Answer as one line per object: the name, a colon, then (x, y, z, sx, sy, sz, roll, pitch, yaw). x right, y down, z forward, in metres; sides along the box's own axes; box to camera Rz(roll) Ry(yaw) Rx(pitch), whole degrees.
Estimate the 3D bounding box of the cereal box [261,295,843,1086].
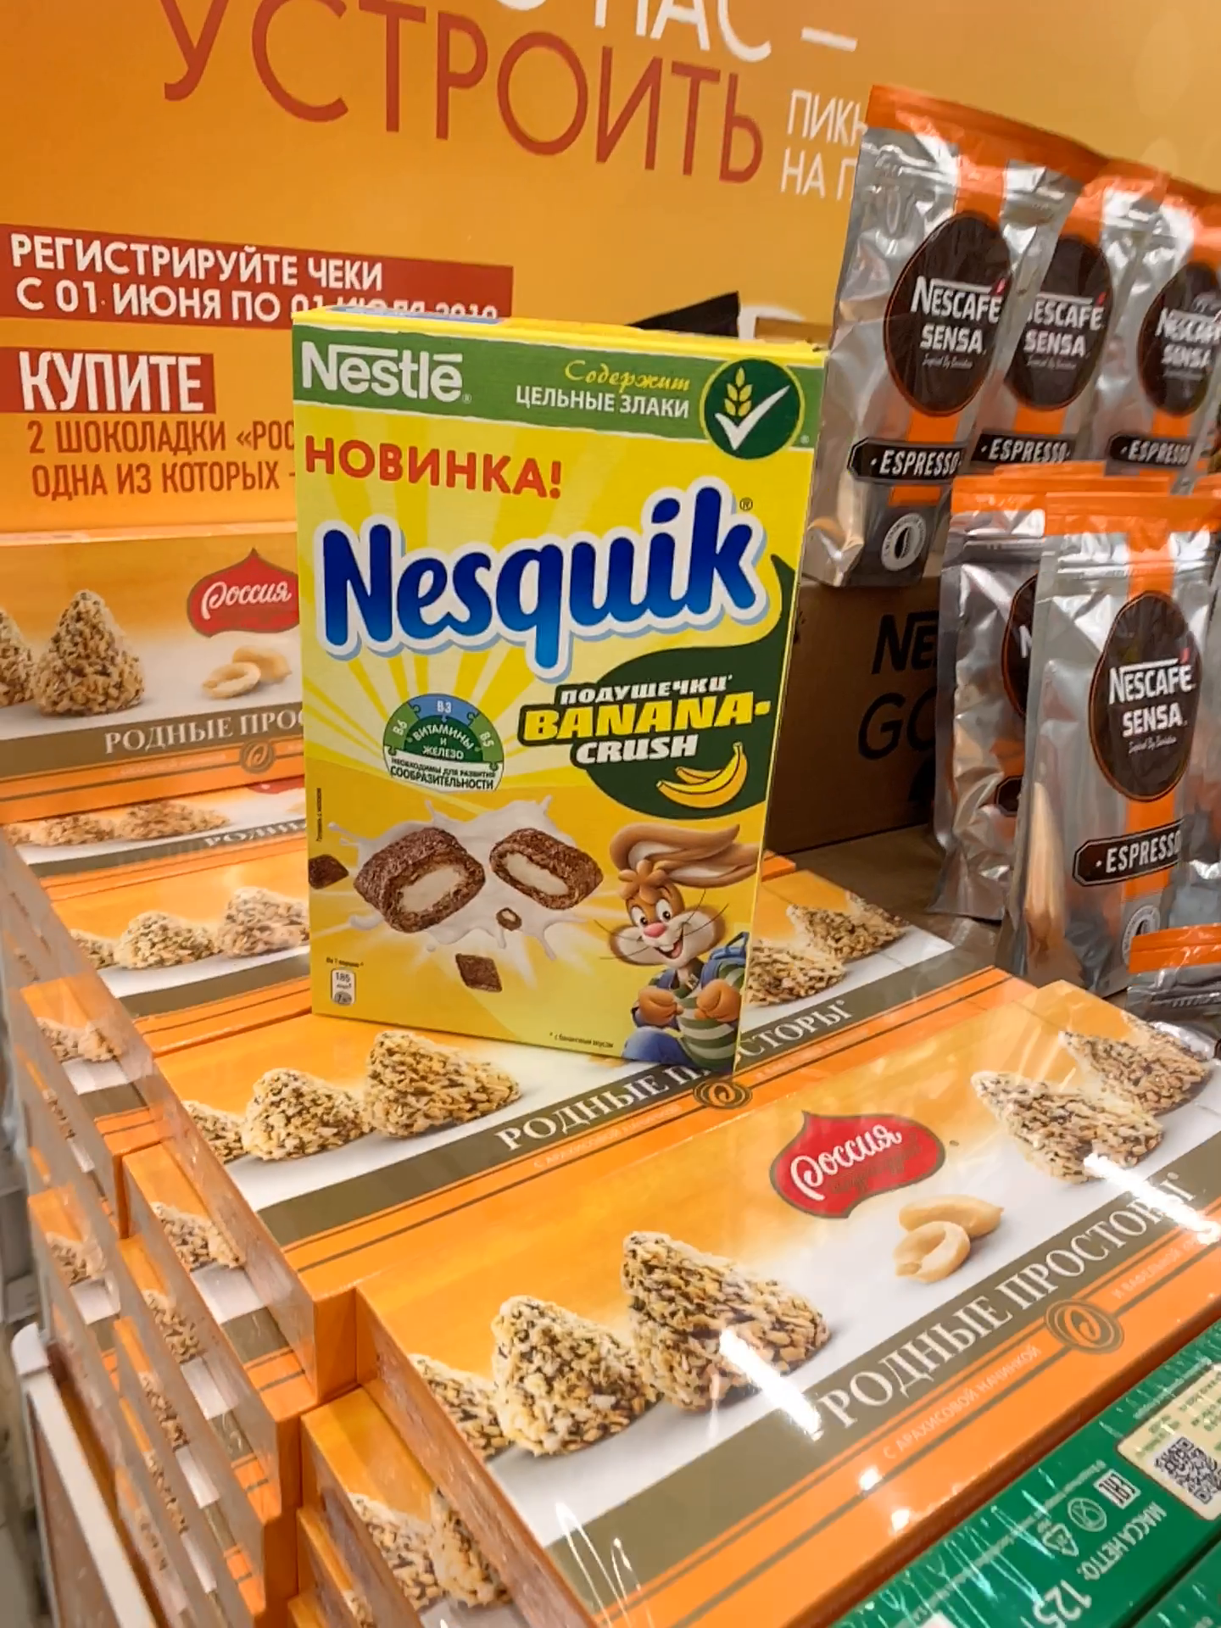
cereal box: (-0.021, -0.036, 0.403, 0.160, 0.229, 0.050, 7, 21, 8)
